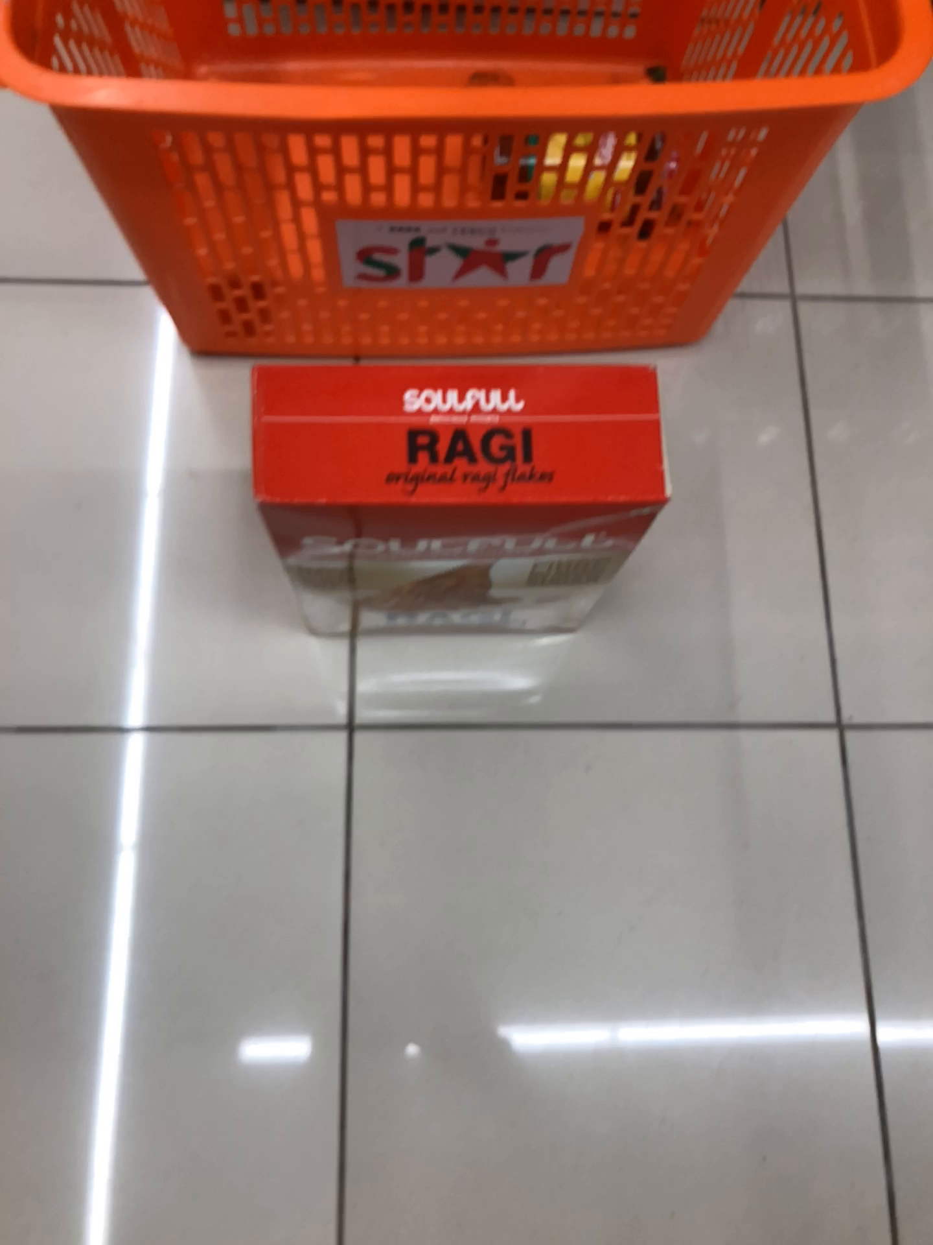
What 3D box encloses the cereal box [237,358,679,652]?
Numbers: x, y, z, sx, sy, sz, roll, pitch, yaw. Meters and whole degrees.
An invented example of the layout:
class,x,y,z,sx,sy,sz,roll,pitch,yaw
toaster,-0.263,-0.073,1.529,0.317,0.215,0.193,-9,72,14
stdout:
class,x,y,z,sx,sy,sz,roll,pitch,yaw
cereal box,-0.010,-0.045,0.523,0.170,0.239,0.060,-1,75,-4
